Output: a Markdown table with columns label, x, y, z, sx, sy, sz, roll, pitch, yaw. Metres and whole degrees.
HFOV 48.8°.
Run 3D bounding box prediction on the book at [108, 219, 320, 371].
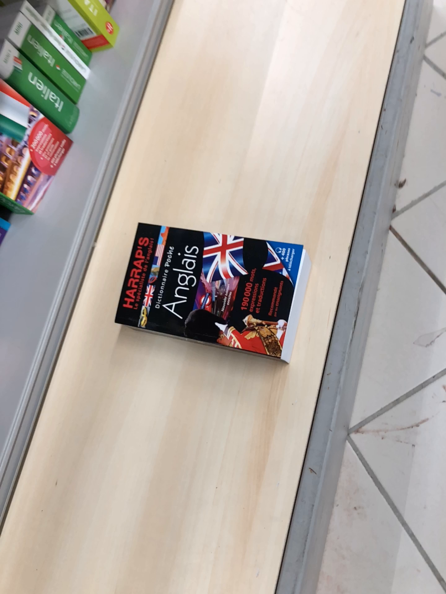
| label | x | y | z | sx | sy | sz | roll | pitch | yaw |
| --- | --- | --- | --- | --- | --- | --- | --- | --- | --- |
| book | -0.007 | -0.005 | 0.494 | 0.181 | 0.057 | 0.115 | 9 | 74 | 20 |
